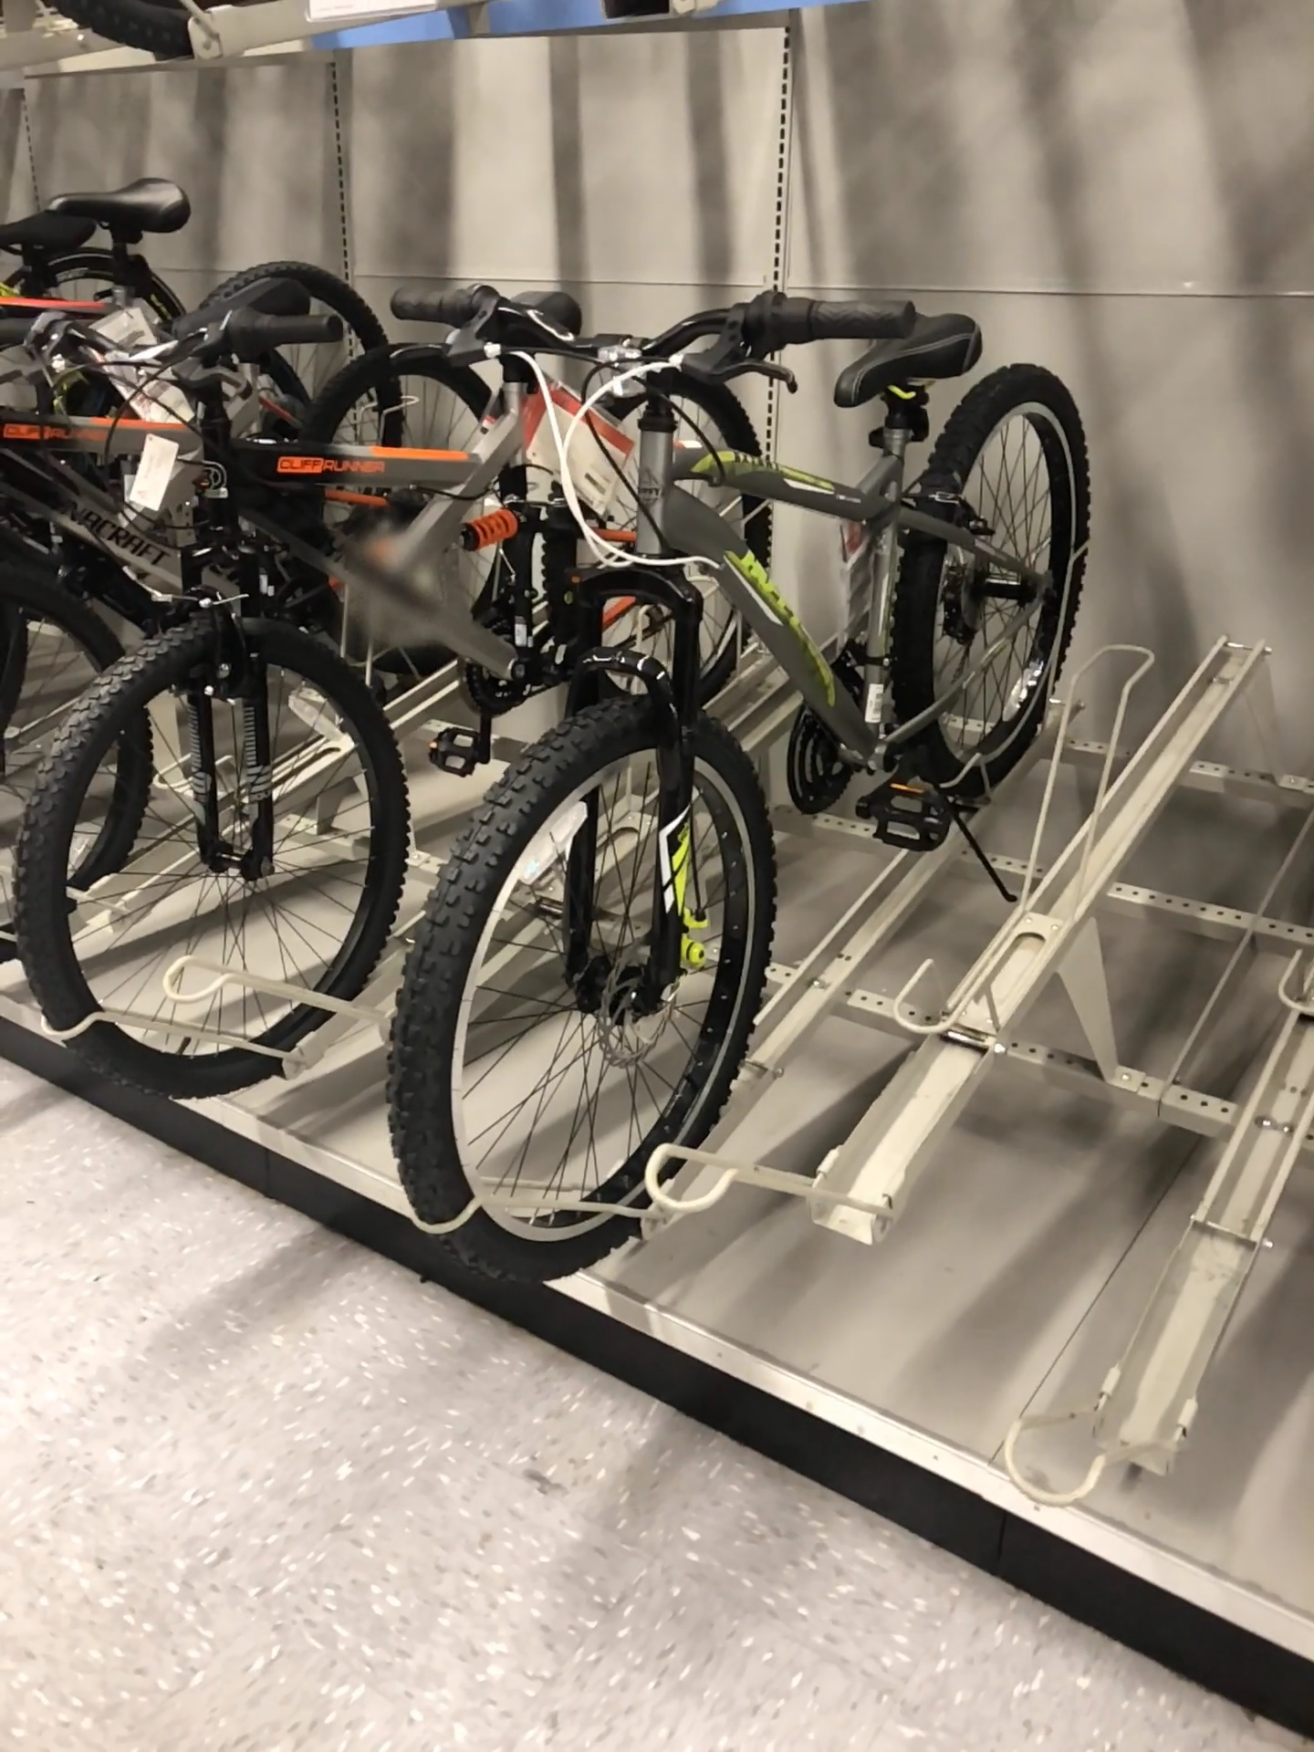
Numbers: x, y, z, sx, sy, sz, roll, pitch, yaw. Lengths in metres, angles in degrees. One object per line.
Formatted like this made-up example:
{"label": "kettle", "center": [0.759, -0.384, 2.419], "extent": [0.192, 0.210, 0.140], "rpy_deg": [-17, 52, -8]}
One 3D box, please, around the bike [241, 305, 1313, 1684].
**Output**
{"label": "bike", "center": [0.312, -0.126, 1.914], "extent": [0.608, 0.729, 1.722], "rpy_deg": [16, 38, 33]}
